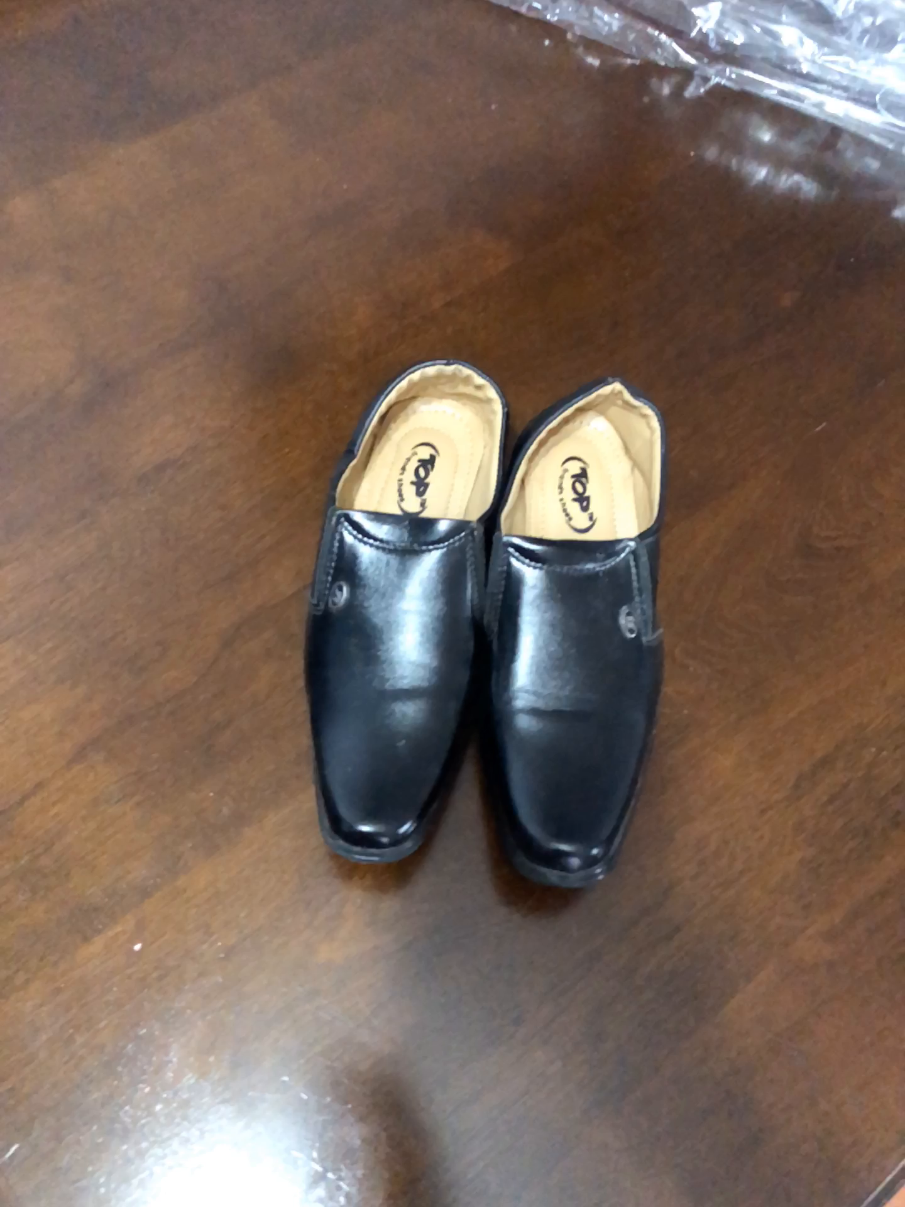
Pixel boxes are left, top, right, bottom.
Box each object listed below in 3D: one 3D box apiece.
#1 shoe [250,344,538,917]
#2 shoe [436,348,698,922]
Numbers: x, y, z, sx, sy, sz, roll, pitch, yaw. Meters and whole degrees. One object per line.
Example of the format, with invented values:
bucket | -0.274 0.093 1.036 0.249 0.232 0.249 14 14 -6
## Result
shoe | -0.018 0.008 0.438 0.090 0.080 0.230 6 65 -1
shoe | 0.050 0.012 0.444 0.090 0.090 0.230 6 65 -1
